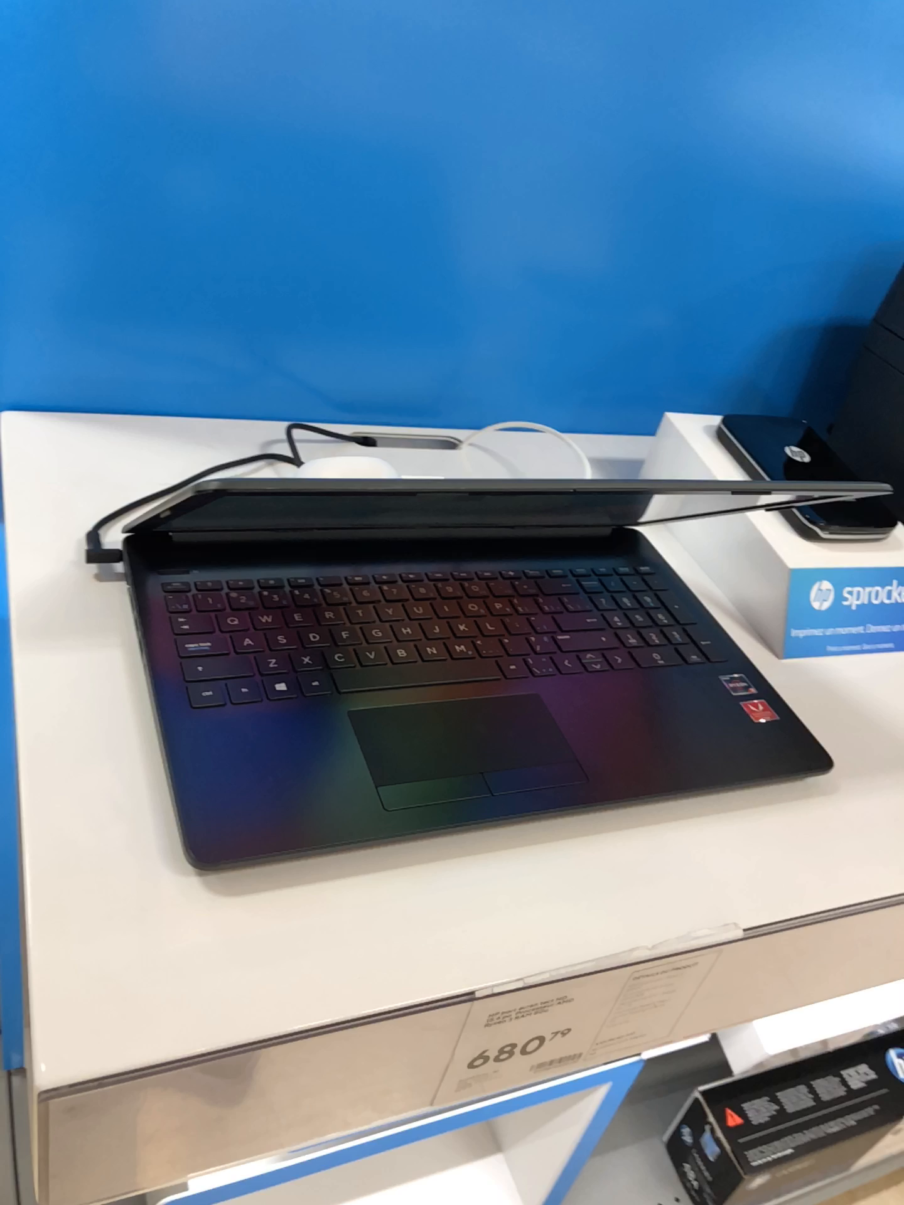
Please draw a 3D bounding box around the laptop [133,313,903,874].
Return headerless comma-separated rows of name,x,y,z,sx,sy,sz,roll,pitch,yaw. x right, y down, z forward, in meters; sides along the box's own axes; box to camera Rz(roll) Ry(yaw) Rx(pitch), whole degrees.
laptop,0.038,-0.025,0.525,0.355,0.130,0.243,-3,38,-28
